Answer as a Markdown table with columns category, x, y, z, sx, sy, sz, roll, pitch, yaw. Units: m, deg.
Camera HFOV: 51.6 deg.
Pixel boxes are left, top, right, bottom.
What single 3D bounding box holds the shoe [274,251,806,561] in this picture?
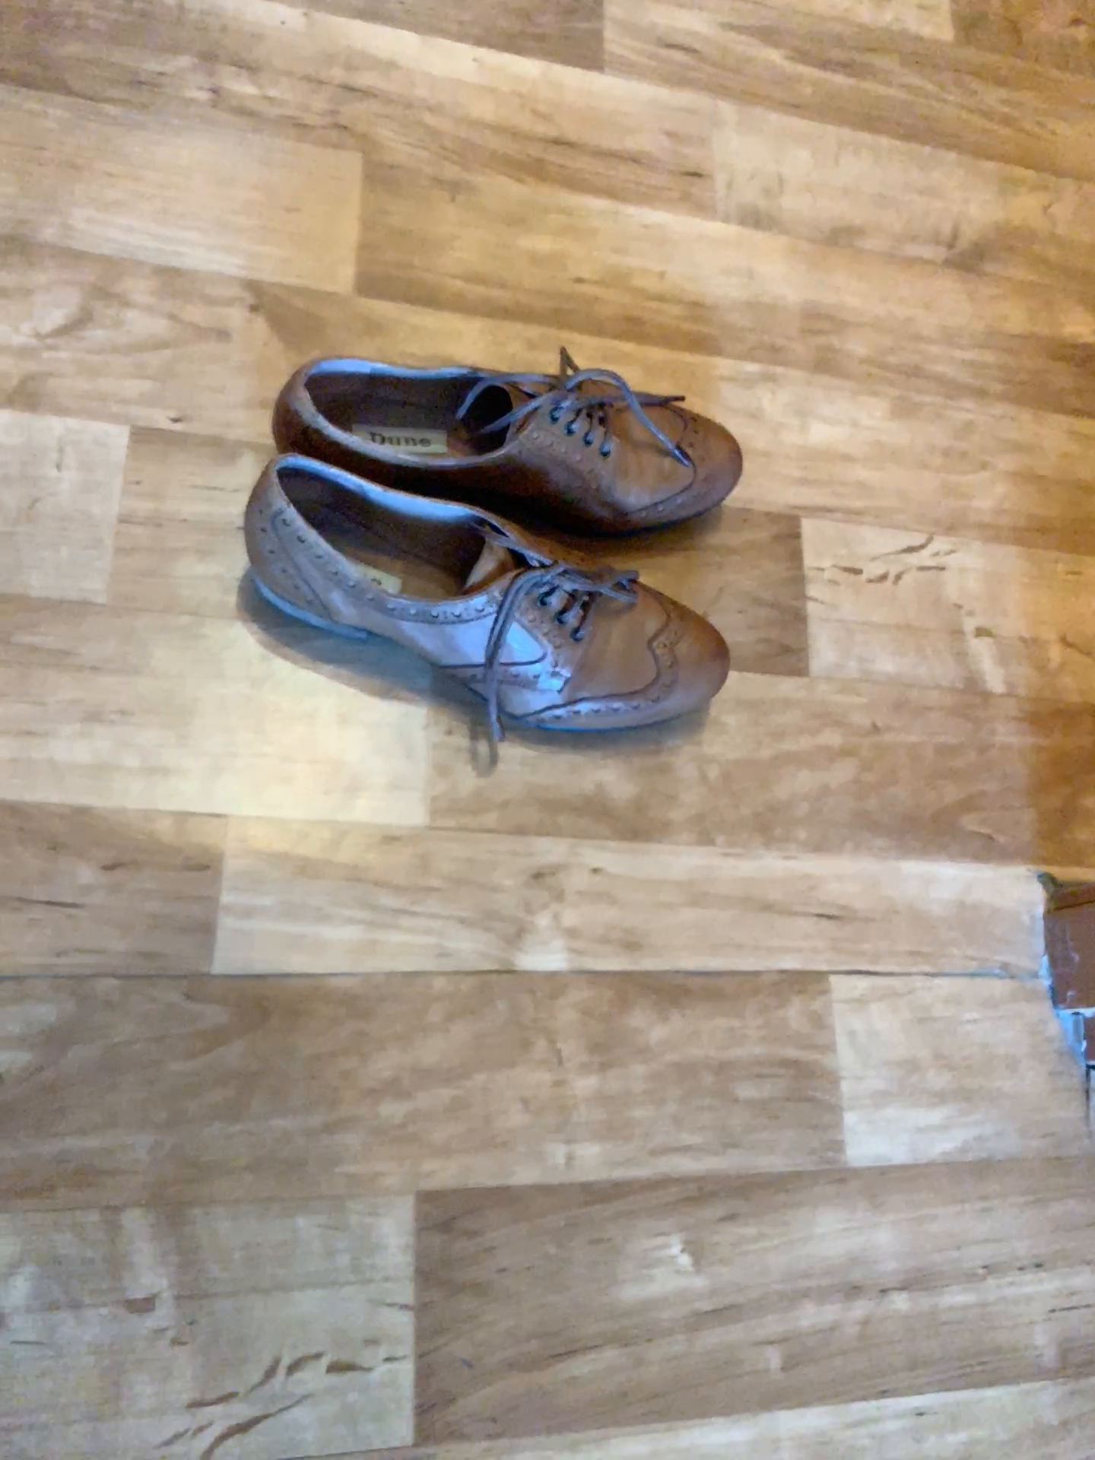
| category | x | y | z | sx | sy | sz | roll | pitch | yaw |
| --- | --- | --- | --- | --- | --- | --- | --- | --- | --- |
| shoe | -0.012 | -0.147 | 0.548 | 0.230 | 0.120 | 0.080 | -1 | 73 | -15 |

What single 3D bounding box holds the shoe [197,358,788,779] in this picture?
| category | x | y | z | sx | sy | sz | roll | pitch | yaw |
| --- | --- | --- | --- | --- | --- | --- | --- | --- | --- |
| shoe | -0.028 | -0.065 | 0.534 | 0.240 | 0.120 | 0.090 | 16 | 70 | -9 |
